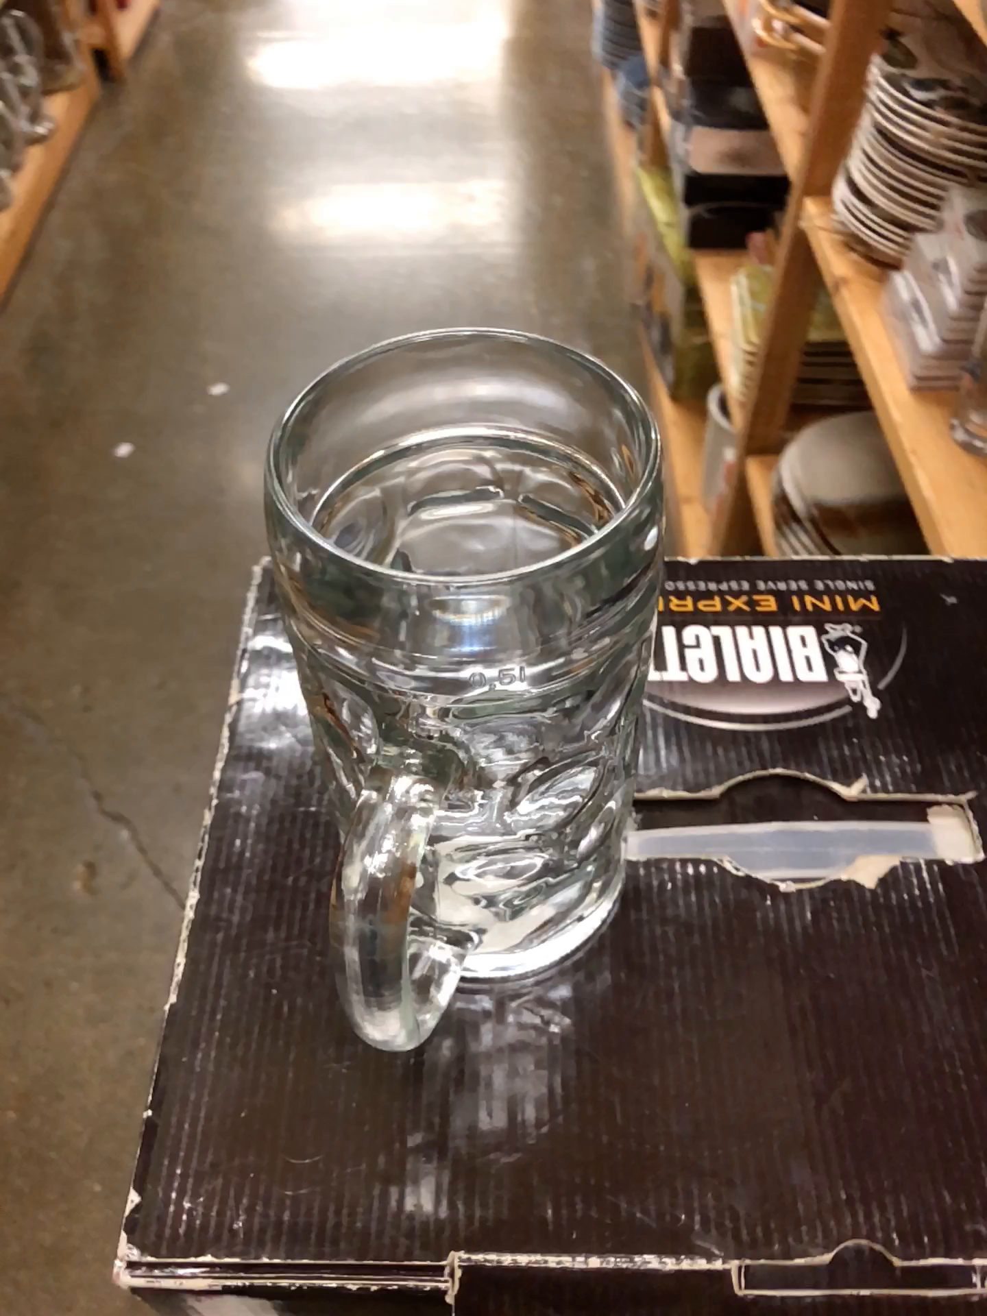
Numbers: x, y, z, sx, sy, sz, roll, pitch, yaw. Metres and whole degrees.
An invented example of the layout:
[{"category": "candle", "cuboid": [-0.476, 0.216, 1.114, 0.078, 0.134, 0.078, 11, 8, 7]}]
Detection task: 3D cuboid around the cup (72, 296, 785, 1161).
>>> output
[{"category": "cup", "cuboid": [-0.001, 0.018, 0.255, 0.100, 0.136, 0.129, 10, 51, 9]}]
